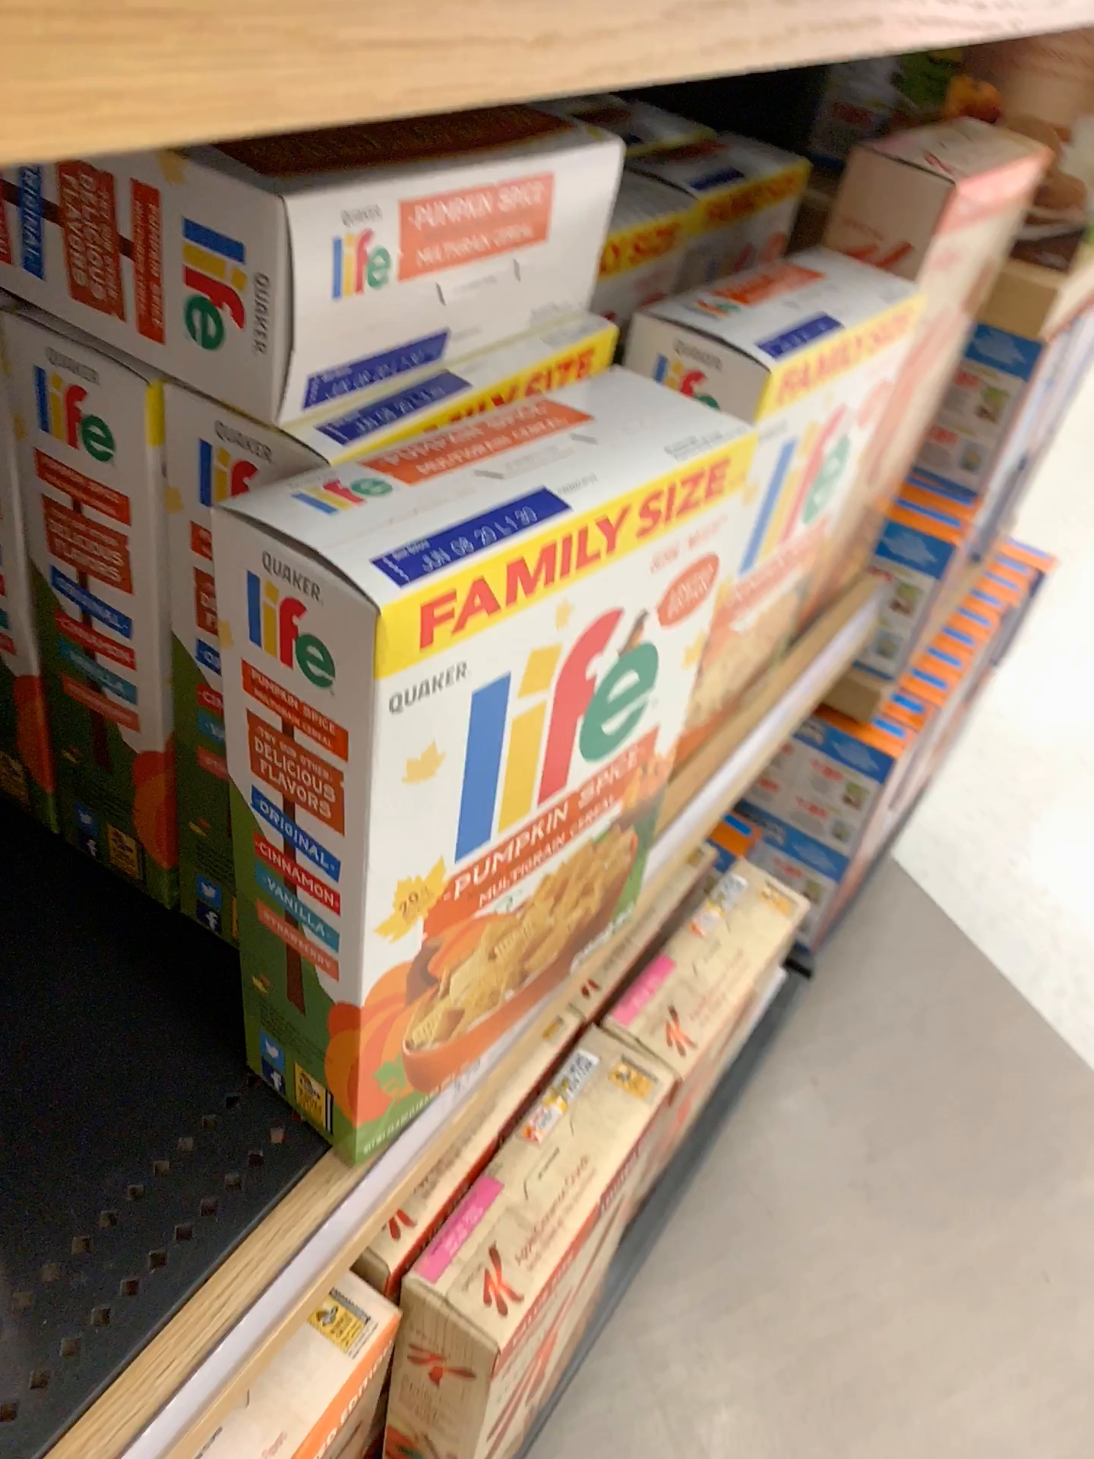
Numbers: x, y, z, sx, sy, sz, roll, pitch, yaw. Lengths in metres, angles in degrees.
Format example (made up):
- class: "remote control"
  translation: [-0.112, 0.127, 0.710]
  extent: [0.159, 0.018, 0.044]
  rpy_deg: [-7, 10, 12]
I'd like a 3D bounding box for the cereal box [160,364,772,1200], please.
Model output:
- class: "cereal box"
  translation: [-0.026, 0.017, 0.420]
  extent: [0.070, 0.249, 0.201]
  rpy_deg: [31, 42, 27]
